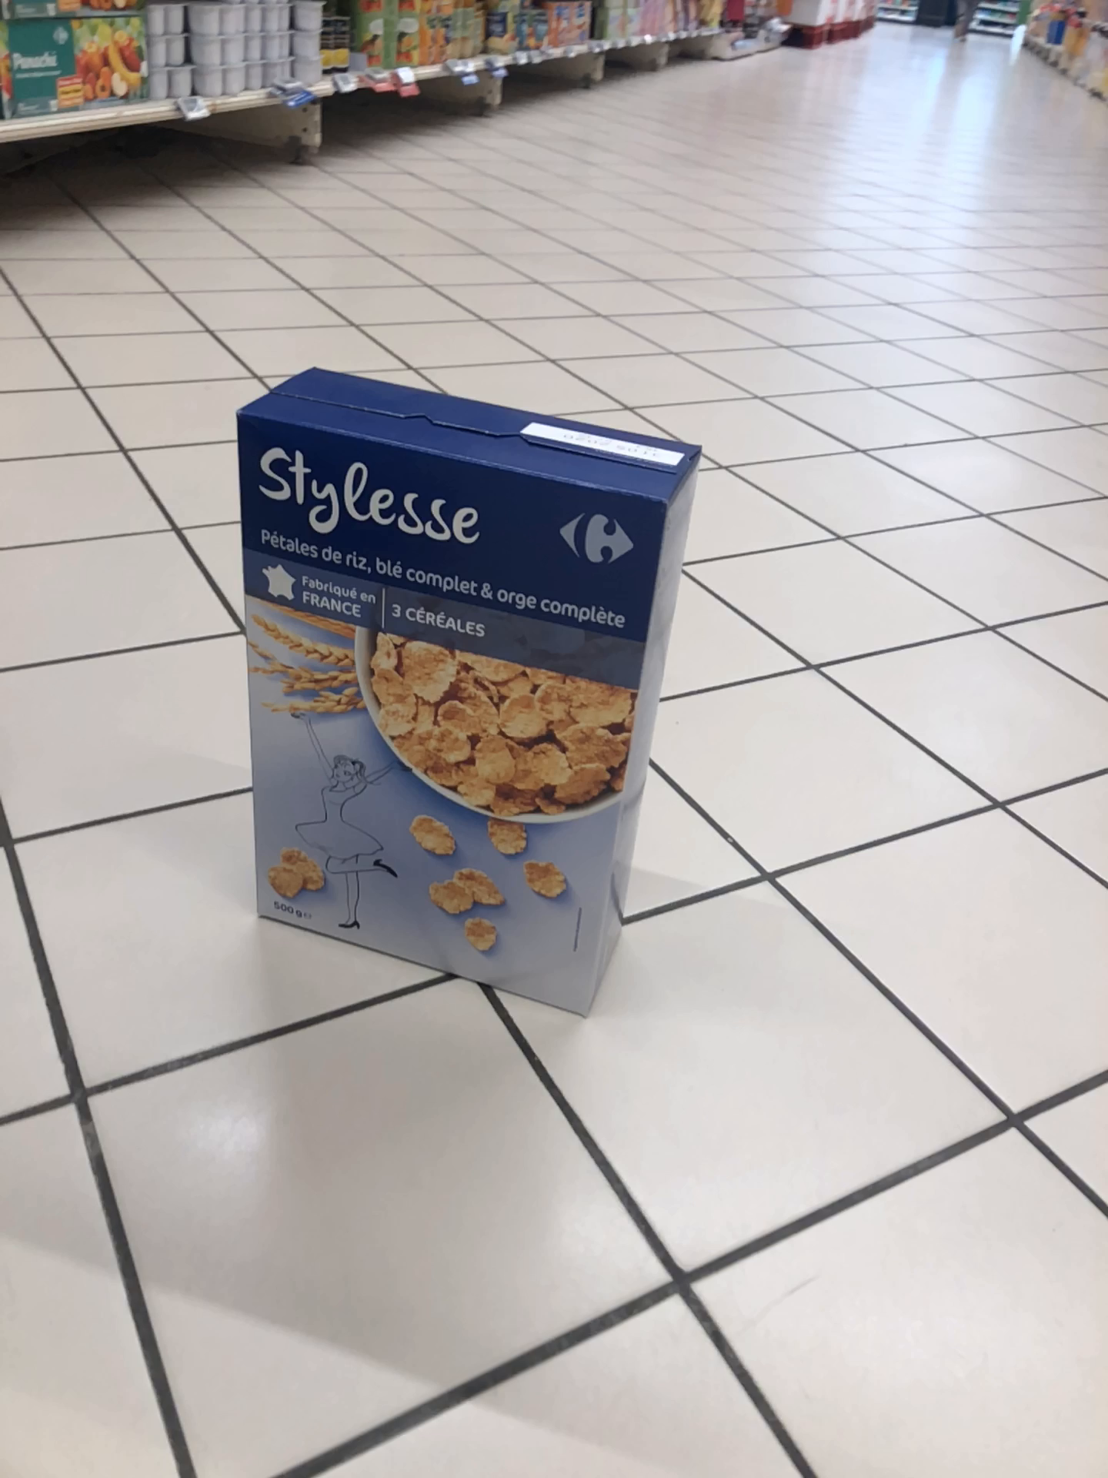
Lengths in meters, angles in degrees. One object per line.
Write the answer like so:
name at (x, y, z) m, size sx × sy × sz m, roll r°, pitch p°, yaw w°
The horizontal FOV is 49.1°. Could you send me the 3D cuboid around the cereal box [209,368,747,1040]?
cereal box at (-0.042, -0.010, 0.583) m, size 0.210 × 0.278 × 0.081 m, roll 13°, pitch 34°, yaw 11°
